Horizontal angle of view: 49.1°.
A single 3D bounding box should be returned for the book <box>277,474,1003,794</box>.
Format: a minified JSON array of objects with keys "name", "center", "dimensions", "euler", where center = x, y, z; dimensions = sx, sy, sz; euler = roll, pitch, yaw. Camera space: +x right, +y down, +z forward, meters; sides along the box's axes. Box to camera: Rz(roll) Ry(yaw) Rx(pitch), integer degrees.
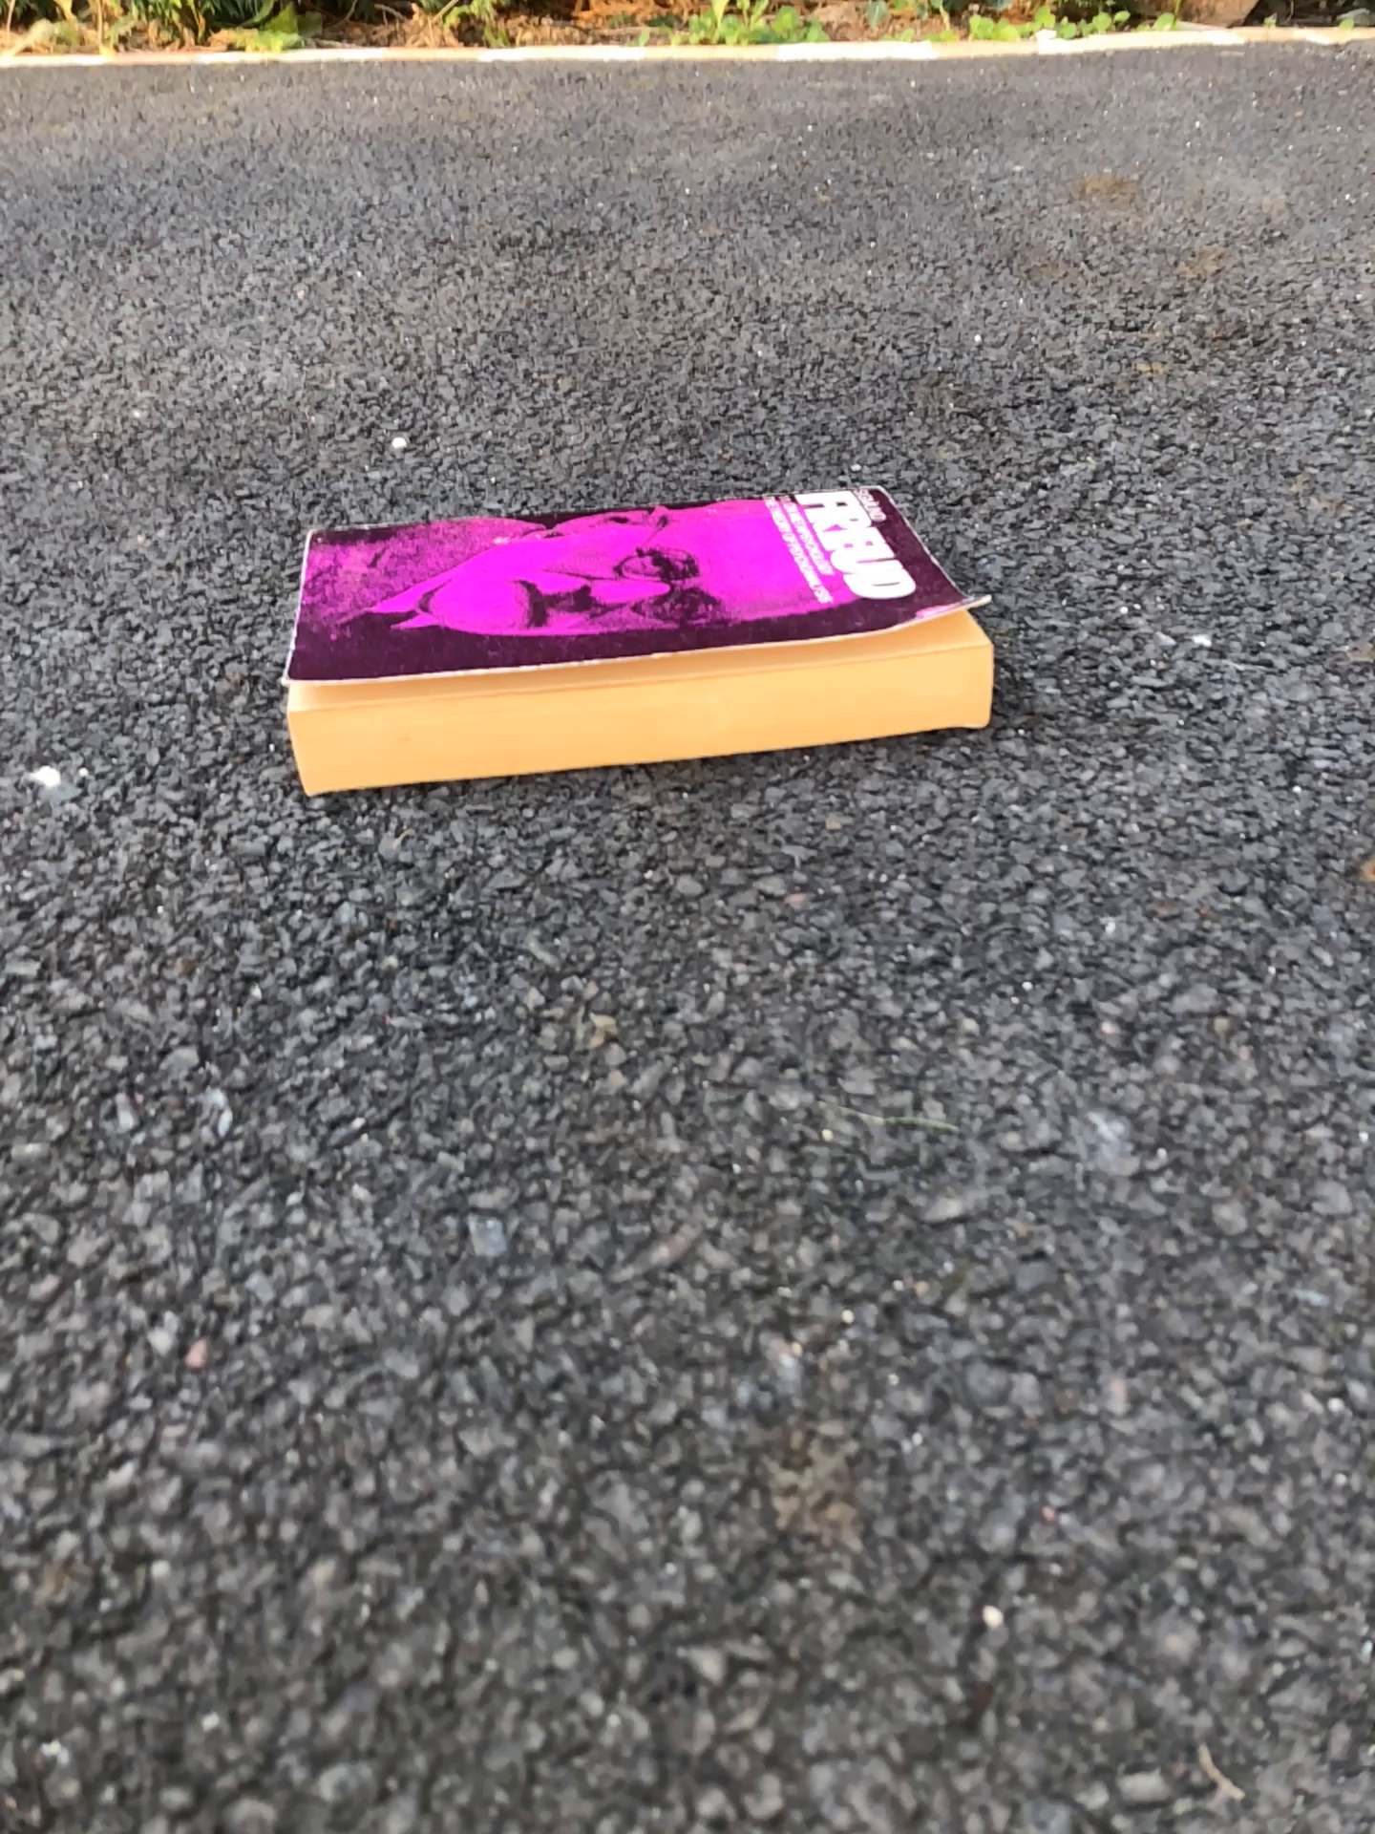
[{"name":"book","center":[-0.019,-0.093,0.462],"dimensions":[0.194,0.031,0.131],"euler":[-6,35,-6]}]
